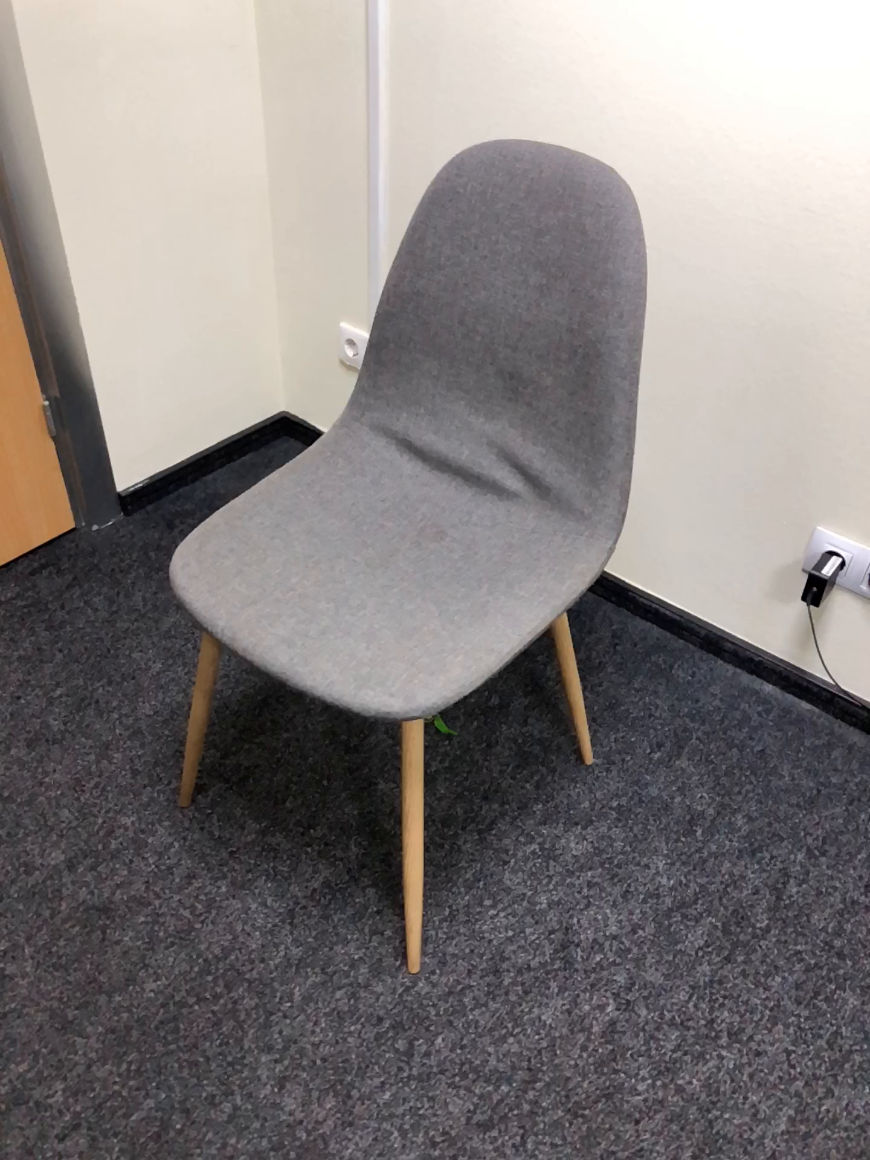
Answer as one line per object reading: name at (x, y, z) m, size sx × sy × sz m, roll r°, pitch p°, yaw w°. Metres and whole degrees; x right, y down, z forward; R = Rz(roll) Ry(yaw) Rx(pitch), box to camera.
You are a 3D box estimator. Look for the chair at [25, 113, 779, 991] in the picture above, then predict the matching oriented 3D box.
chair at (-0.012, -0.057, 1.182) m, size 0.471 × 0.785 × 0.603 m, roll 26°, pitch 45°, yaw 26°
